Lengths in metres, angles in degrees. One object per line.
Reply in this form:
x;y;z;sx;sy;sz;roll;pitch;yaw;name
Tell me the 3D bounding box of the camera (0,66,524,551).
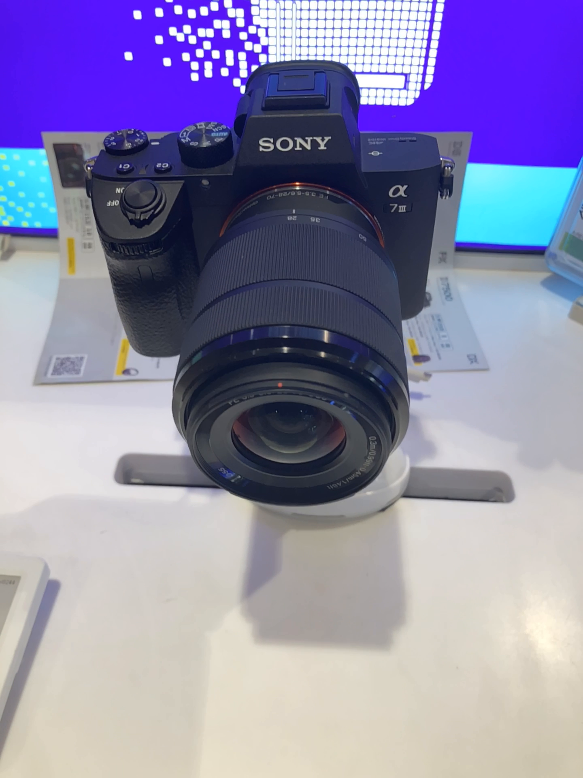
-0.013;-0.032;0.227;0.120;0.109;0.128;-2;45;-4;camera
